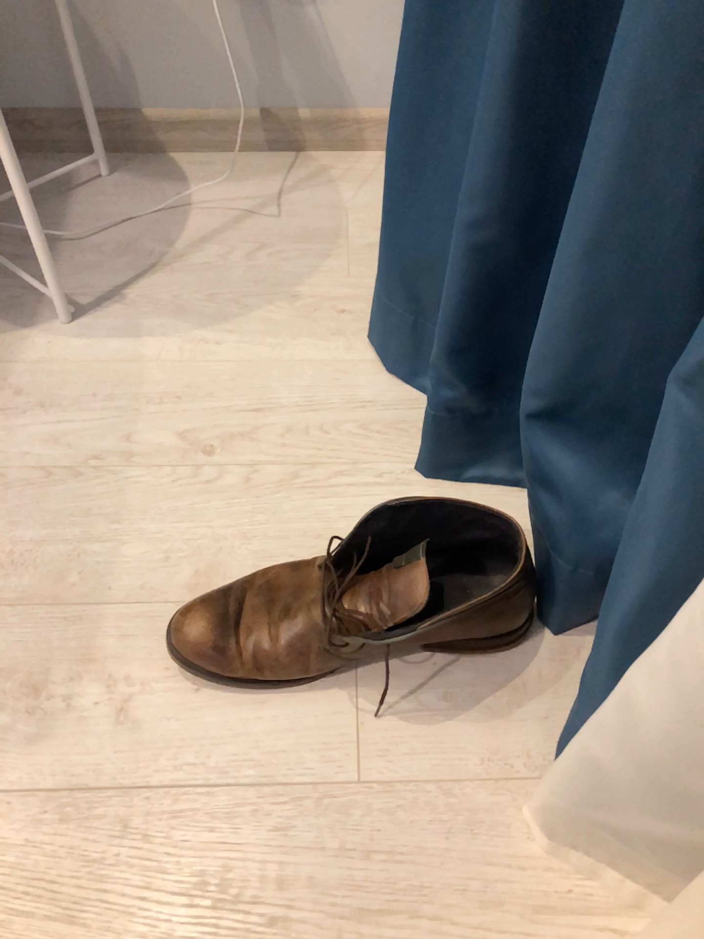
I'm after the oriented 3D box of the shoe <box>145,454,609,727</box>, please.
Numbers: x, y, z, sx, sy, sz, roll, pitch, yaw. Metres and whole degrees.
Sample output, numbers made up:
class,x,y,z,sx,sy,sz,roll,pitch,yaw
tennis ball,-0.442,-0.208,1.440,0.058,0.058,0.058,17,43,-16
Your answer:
class,x,y,z,sx,sy,sz,roll,pitch,yaw
shoe,0.013,0.099,0.631,0.320,0.159,0.131,-4,49,-5
